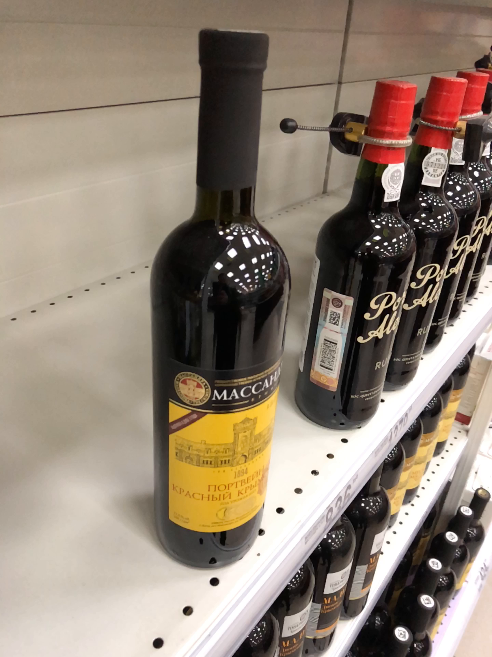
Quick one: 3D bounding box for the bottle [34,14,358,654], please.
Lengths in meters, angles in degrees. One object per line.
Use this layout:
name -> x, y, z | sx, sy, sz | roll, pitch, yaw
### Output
bottle -> -0.033, 0.020, 0.320 | 0.100, 0.348, 0.100 | 3, 30, -2
